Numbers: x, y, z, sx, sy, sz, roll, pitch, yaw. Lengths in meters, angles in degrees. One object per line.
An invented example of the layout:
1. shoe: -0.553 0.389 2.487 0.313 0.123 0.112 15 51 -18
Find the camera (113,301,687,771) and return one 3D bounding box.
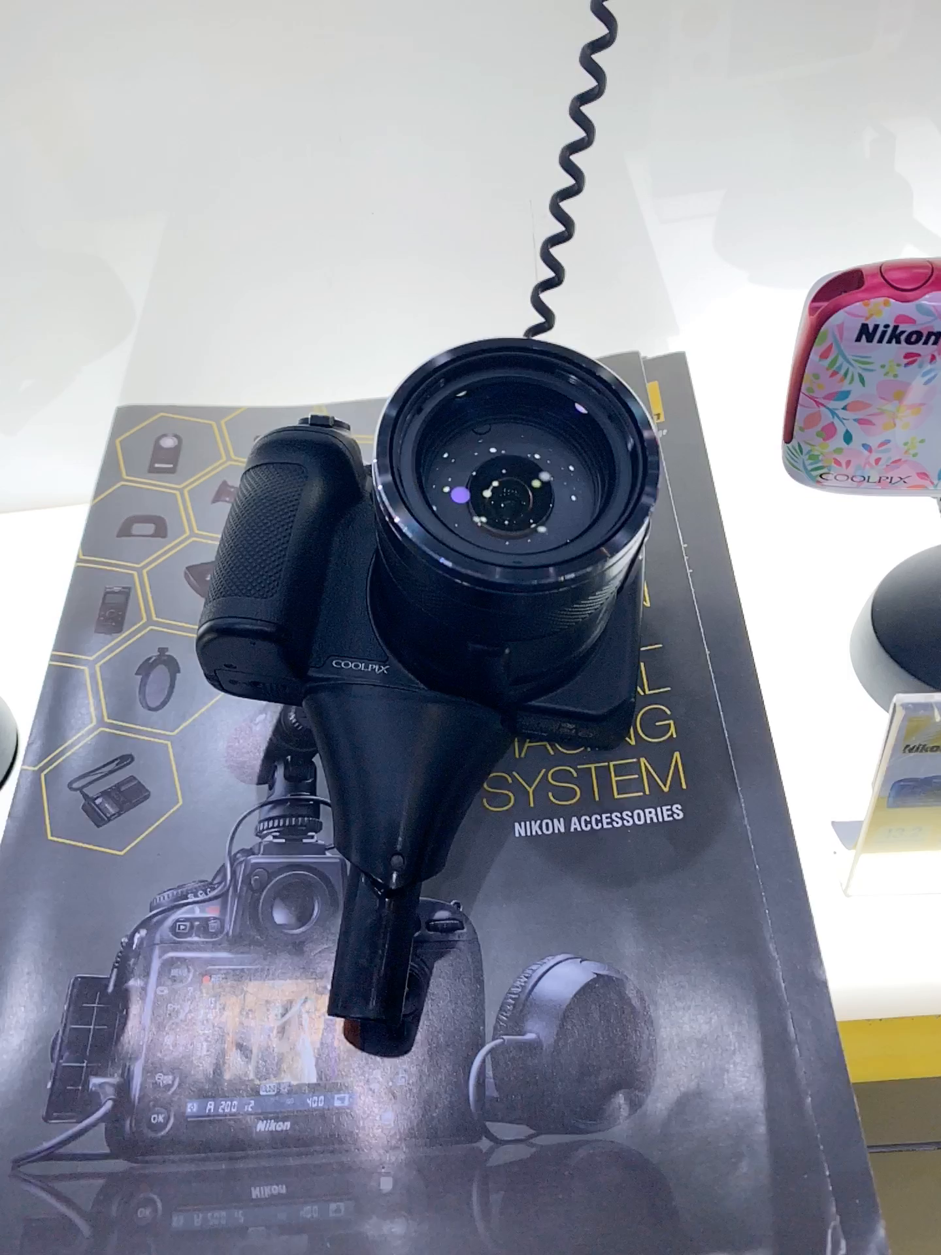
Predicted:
1. camera: -0.009 -0.023 0.259 0.120 0.080 0.090 5 67 11
